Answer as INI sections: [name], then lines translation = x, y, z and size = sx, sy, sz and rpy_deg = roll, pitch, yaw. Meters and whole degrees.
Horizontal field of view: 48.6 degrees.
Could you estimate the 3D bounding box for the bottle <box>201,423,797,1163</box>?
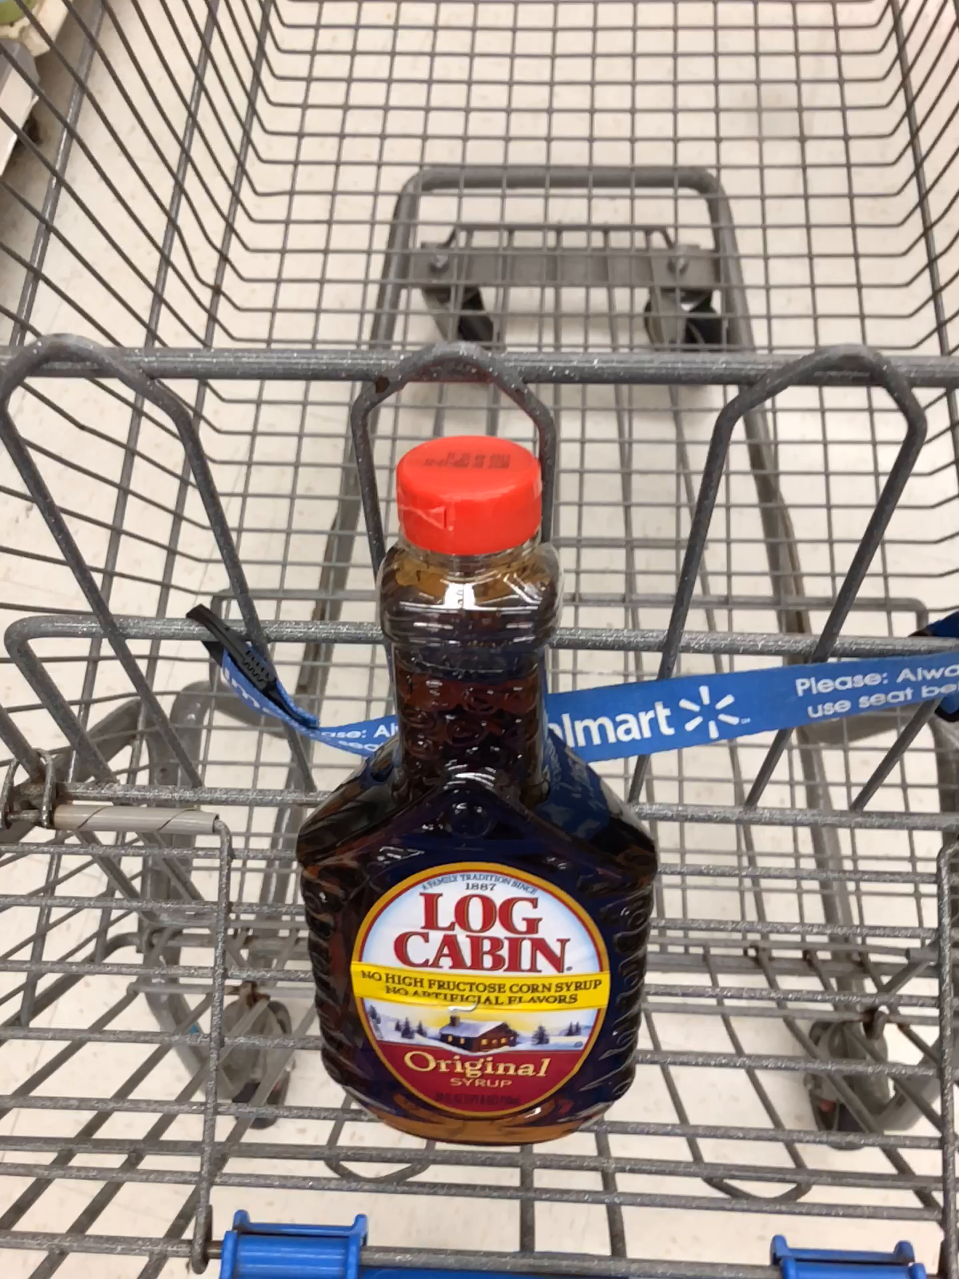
[bottle]
translation = 0.007, 0.061, 0.310
size = 0.120, 0.240, 0.060
rpy_deg = 0, 37, 3
